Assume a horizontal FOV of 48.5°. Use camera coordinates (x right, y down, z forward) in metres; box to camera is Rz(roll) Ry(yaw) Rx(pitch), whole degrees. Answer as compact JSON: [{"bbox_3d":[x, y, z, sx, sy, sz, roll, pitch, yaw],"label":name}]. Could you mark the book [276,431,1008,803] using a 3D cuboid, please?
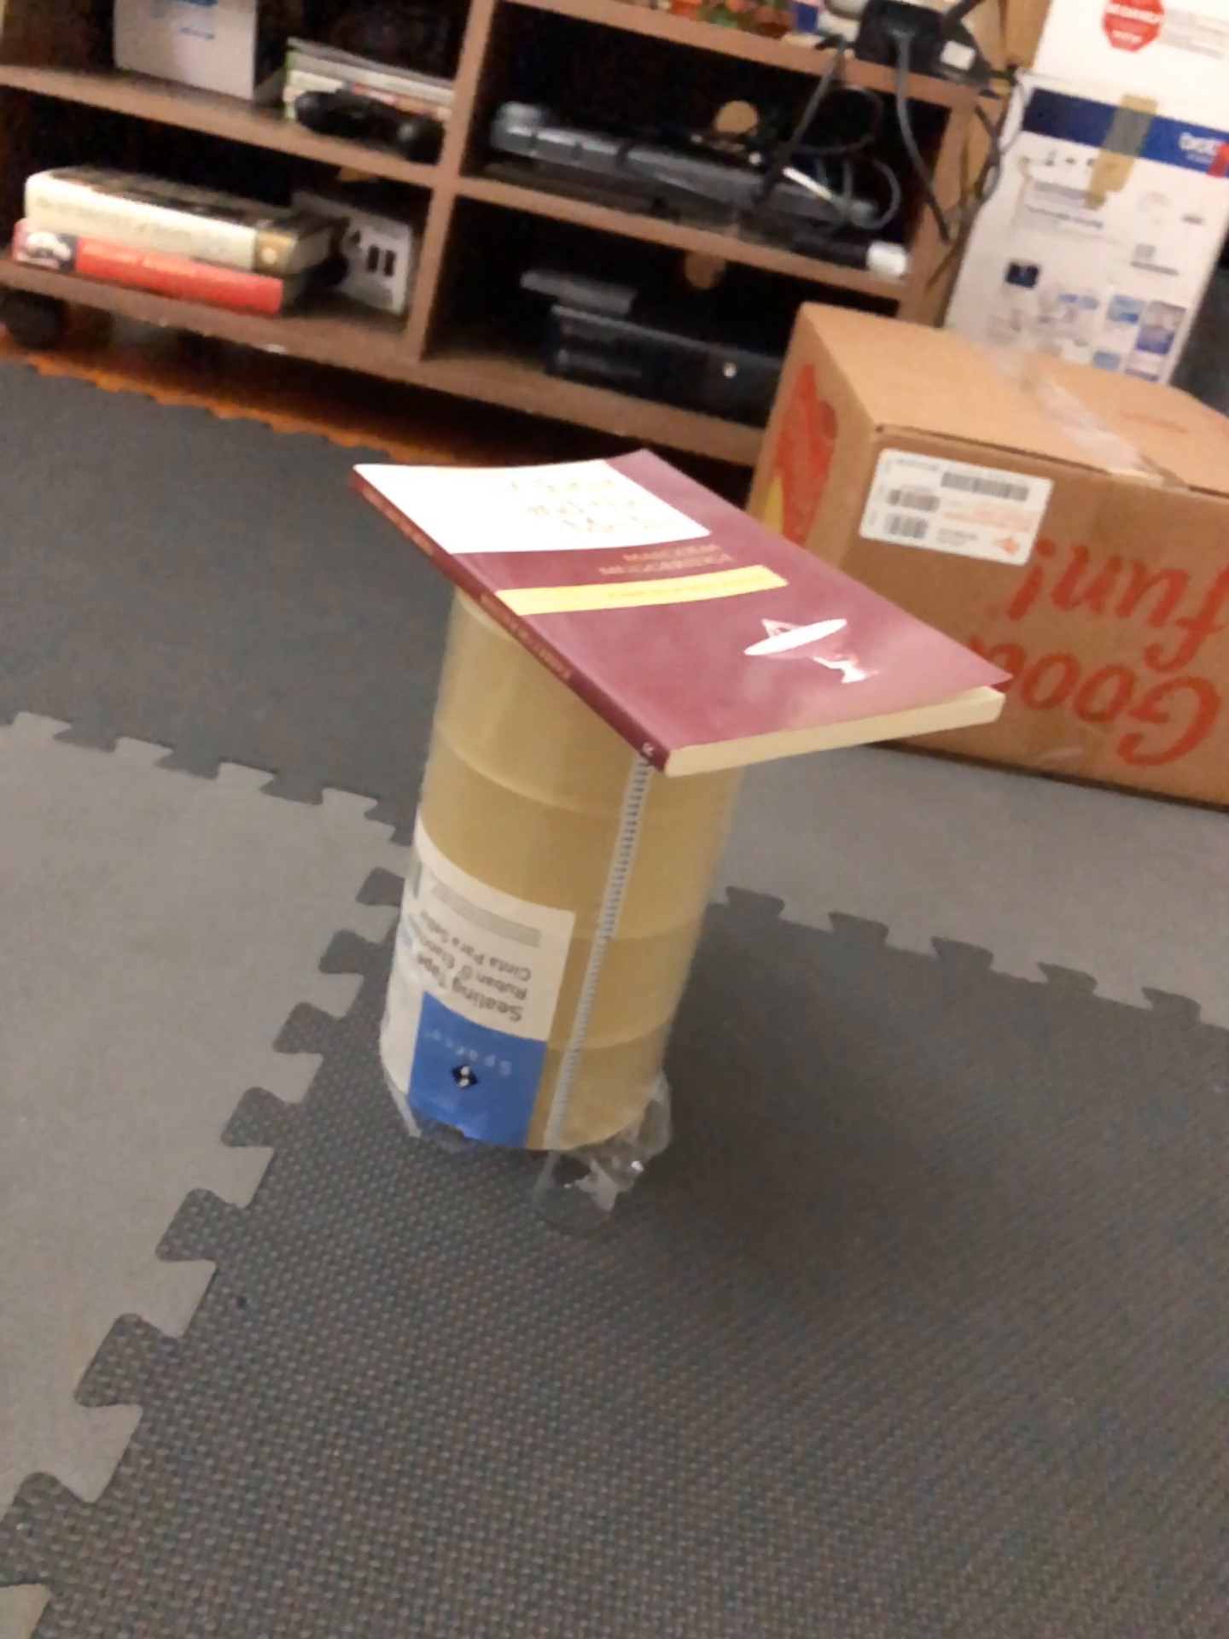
[{"bbox_3d":[0.001,-0.079,0.443,0.140,0.020,0.211,-12,39,-36],"label":"book"}]
